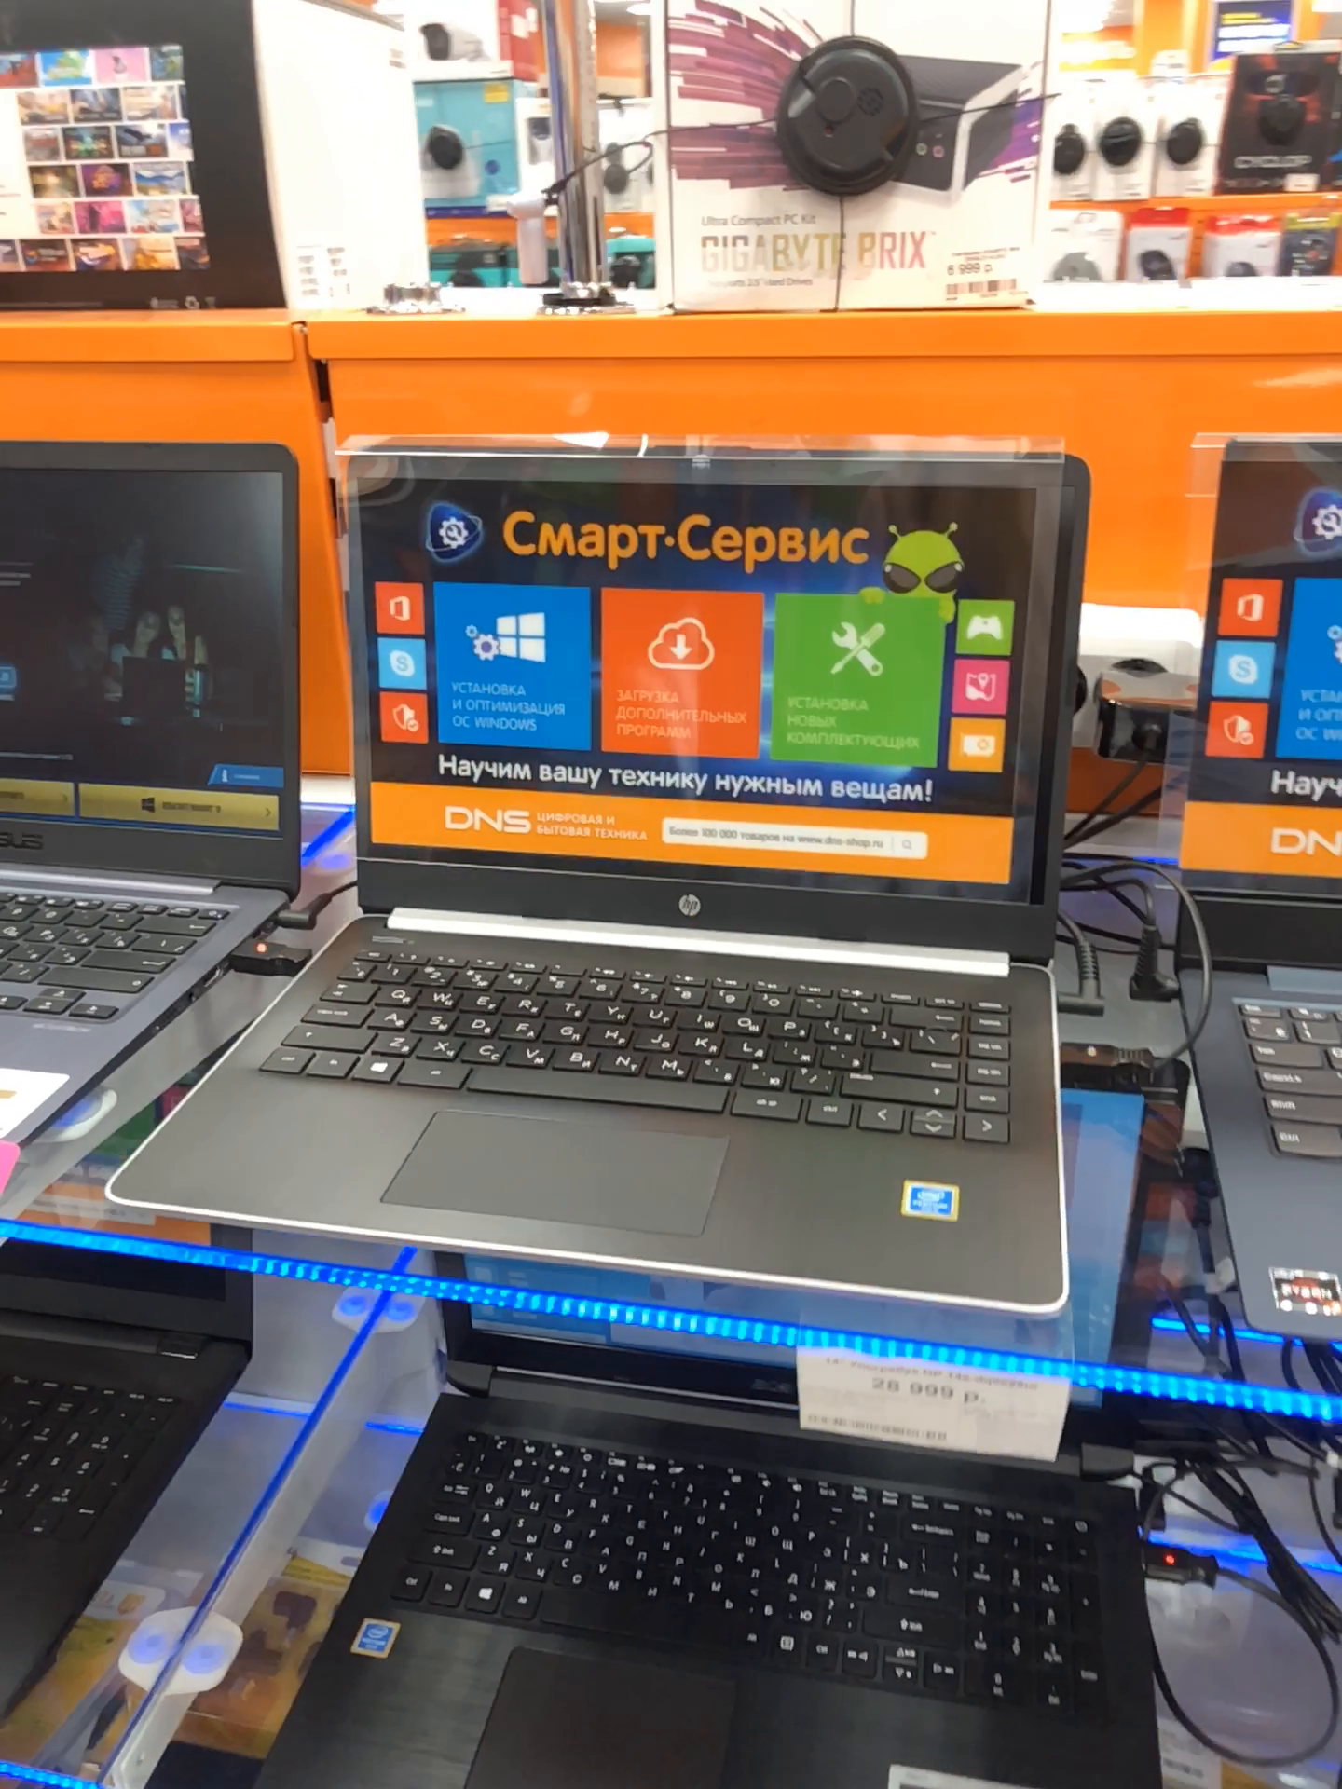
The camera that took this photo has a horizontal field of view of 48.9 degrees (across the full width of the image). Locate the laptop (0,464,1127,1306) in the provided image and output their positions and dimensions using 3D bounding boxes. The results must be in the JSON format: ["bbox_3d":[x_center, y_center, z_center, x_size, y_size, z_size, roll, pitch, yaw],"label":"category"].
[{"bbox_3d":[-0.010,-0.034,0.547,0.313,0.197,0.268,4,26,12],"label":"laptop"}]

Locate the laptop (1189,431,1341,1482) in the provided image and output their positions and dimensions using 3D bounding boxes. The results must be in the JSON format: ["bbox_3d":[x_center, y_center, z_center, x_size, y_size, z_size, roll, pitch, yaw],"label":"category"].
[{"bbox_3d":[0.333,-0.015,0.461,0.276,0.205,0.249,3,26,15],"label":"laptop"}]

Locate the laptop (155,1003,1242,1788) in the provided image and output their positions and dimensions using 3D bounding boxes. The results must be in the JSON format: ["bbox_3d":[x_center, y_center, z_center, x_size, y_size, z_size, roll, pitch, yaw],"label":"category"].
[{"bbox_3d":[0.026,0.228,0.643,0.362,0.245,0.252,4,25,13],"label":"laptop"}]

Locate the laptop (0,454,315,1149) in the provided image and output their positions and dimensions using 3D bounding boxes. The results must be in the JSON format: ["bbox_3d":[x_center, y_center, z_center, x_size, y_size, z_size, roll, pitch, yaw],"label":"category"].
[{"bbox_3d":[-0.363,-0.069,0.644,0.313,0.198,0.280,4,24,11],"label":"laptop"}]
